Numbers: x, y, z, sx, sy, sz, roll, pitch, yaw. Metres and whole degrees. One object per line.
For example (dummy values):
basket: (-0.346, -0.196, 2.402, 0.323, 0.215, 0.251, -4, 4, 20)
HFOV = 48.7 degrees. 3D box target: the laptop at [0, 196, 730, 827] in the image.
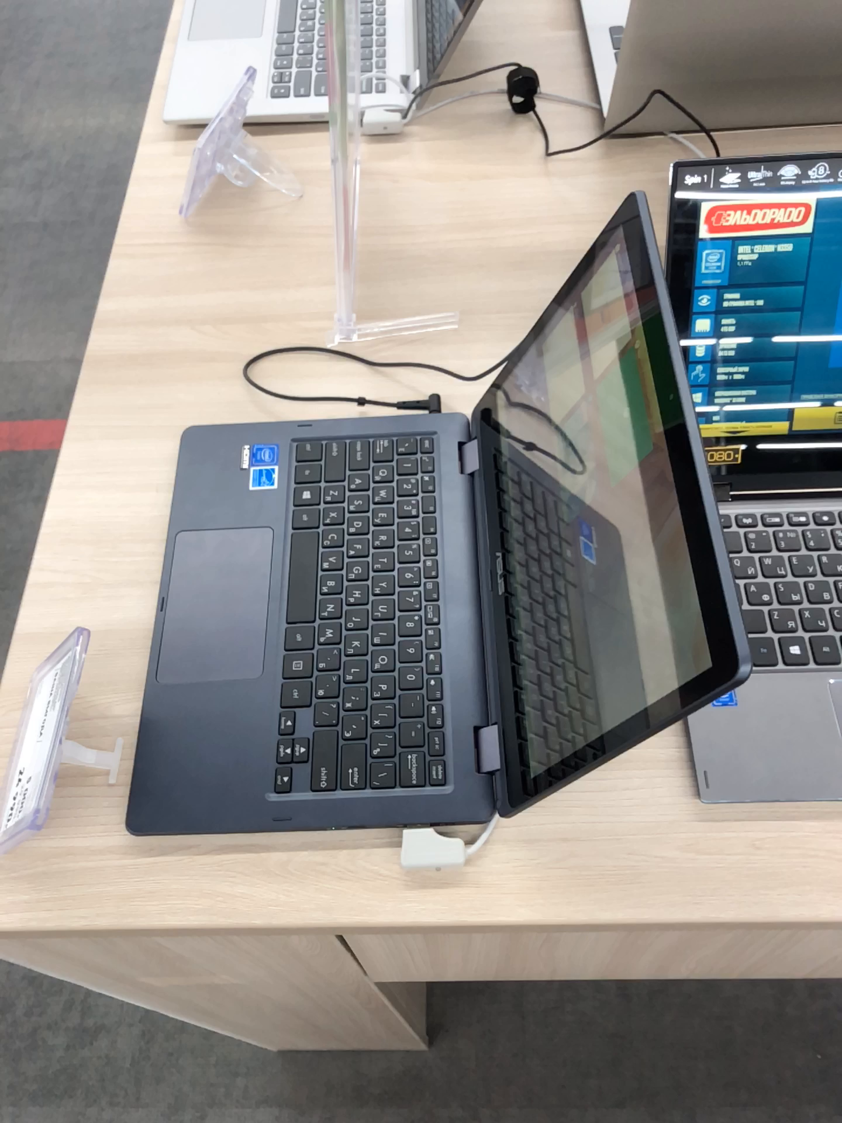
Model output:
laptop: (-0.023, -0.023, 0.489, 0.280, 0.166, 0.270, -3, 59, 2)

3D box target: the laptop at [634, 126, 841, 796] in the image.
laptop: (0.273, -0.051, 0.482, 0.261, 0.162, 0.299, -2, 59, 3)
